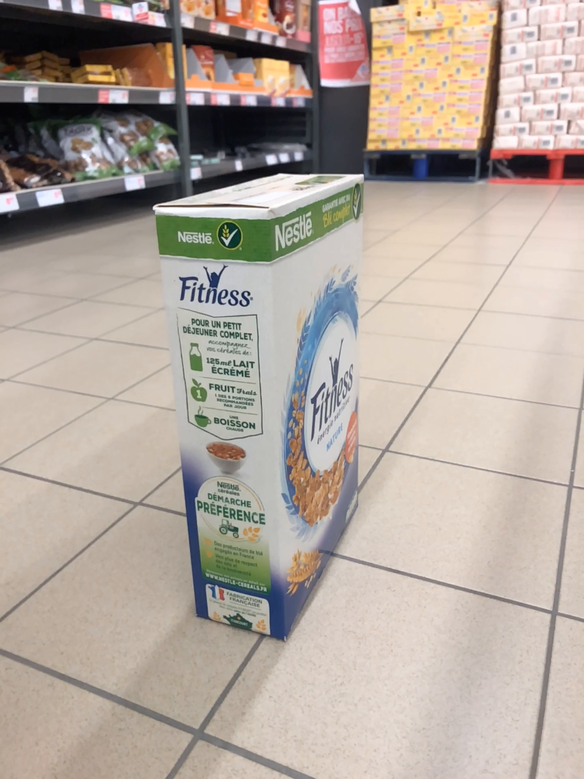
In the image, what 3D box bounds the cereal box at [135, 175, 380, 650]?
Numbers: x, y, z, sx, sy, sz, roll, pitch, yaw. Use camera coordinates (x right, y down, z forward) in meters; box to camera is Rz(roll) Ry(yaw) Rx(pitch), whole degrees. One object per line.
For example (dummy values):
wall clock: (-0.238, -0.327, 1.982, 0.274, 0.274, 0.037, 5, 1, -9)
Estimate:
cereal box: (-0.007, -0.001, 0.500, 0.090, 0.299, 0.211, 7, 24, 20)
